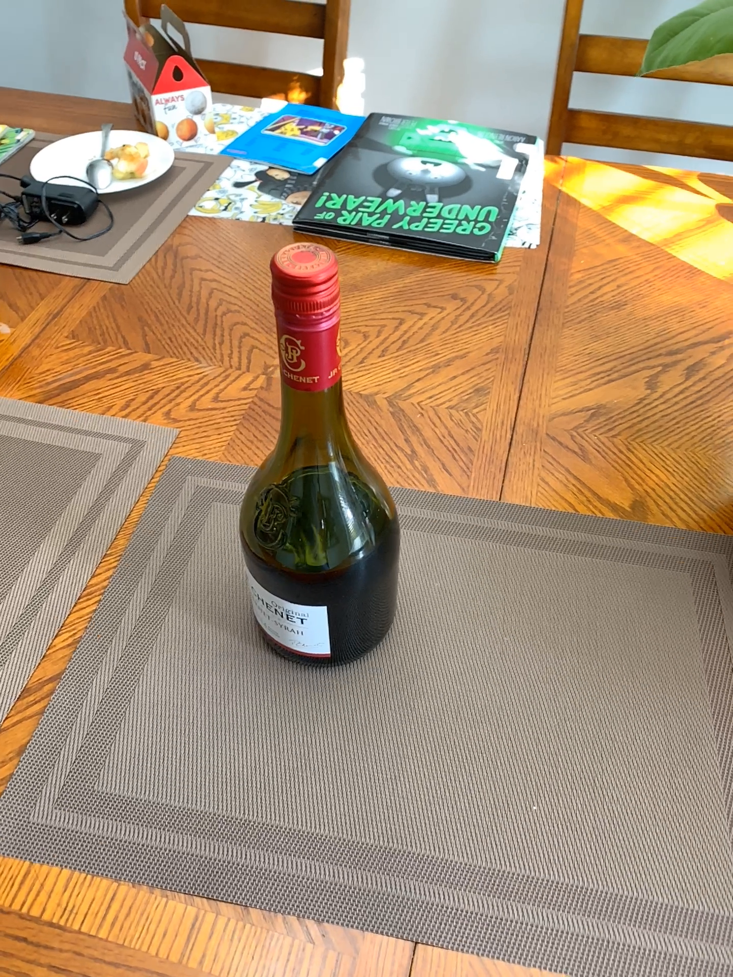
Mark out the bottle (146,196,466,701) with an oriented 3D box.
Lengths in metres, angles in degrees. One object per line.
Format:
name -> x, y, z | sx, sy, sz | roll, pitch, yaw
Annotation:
bottle -> -0.029, -0.007, 0.419 | 0.100, 0.258, 0.101 | 0, 48, -1
